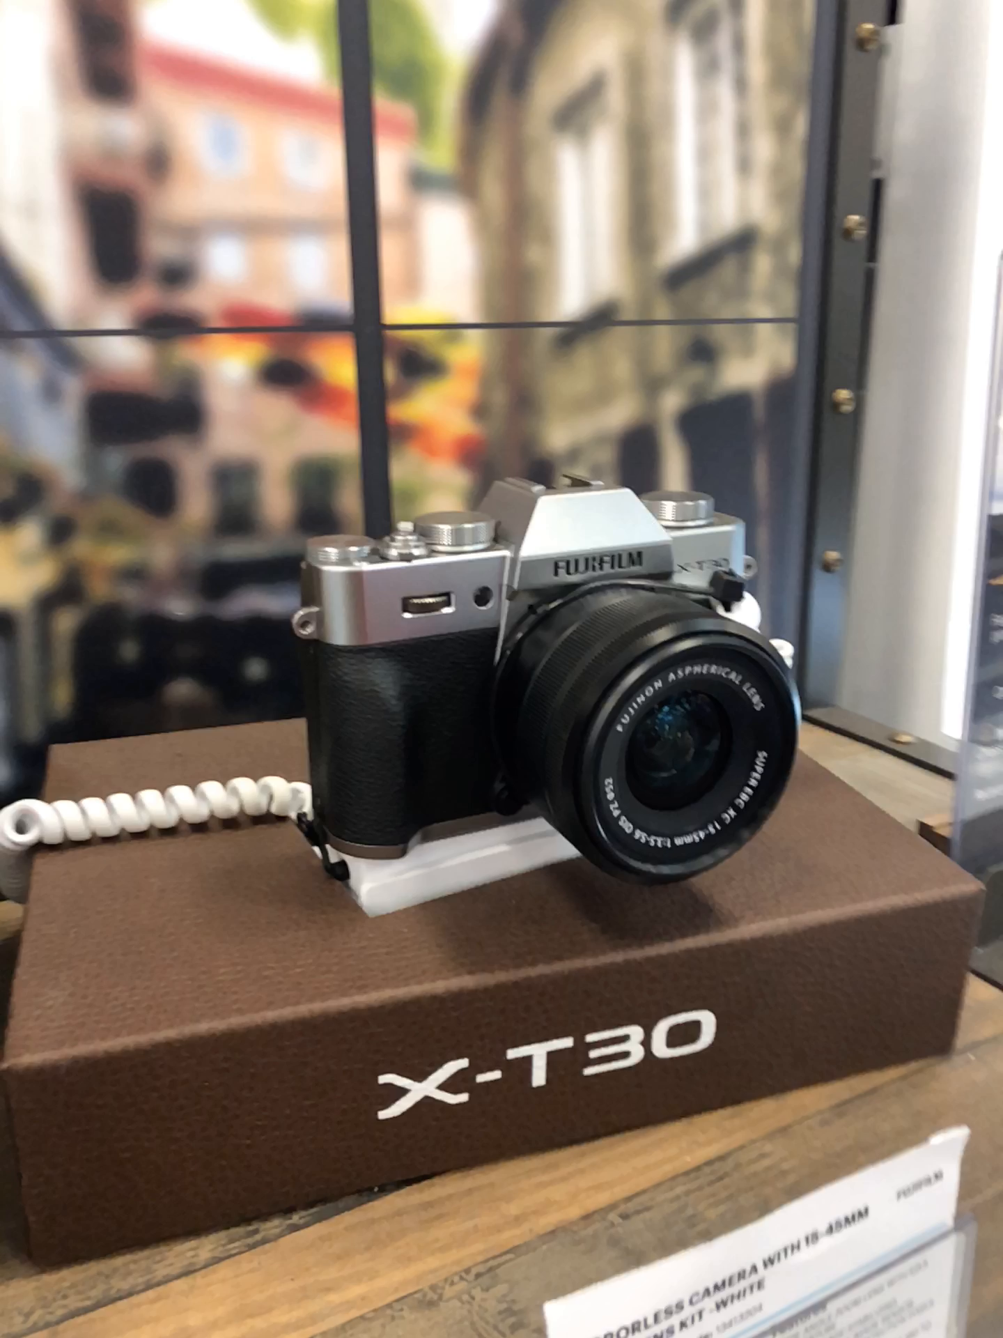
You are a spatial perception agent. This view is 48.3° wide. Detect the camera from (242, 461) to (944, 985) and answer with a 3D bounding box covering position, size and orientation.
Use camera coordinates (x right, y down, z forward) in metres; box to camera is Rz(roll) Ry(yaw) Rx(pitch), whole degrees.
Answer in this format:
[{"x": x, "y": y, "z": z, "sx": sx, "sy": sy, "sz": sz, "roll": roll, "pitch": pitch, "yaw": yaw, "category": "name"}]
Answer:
[{"x": 0.016, "y": 0.000, "z": 0.263, "sx": 0.130, "sy": 0.080, "sz": 0.090, "roll": -8, "pitch": 19, "yaw": -22, "category": "camera"}]
